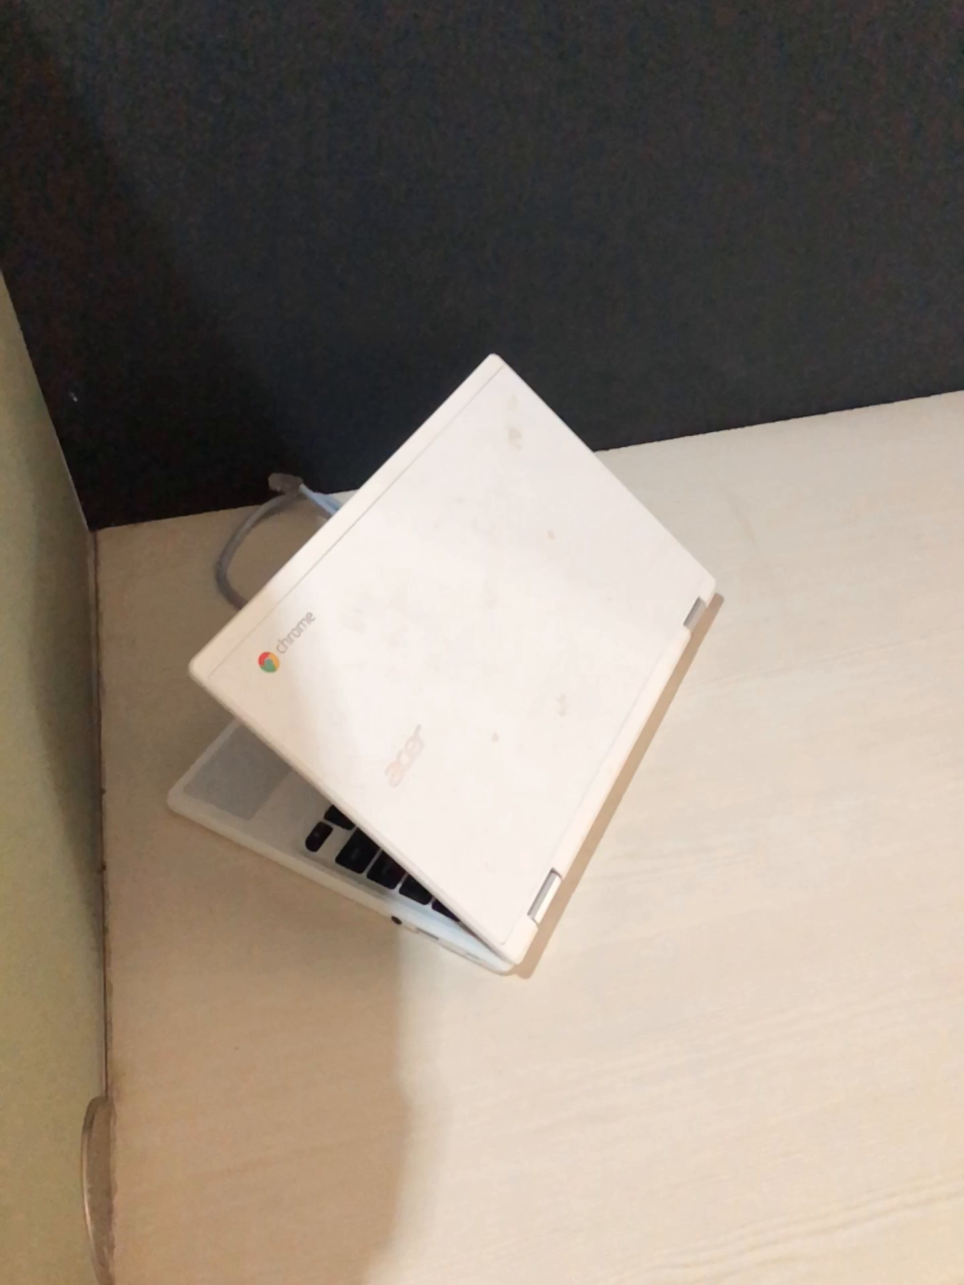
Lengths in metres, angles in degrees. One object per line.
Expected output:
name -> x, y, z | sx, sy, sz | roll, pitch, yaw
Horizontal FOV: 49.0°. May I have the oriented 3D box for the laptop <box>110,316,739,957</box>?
laptop -> -0.009, -0.026, 0.548 | 0.187, 0.114, 0.286 | 21, 50, 17
